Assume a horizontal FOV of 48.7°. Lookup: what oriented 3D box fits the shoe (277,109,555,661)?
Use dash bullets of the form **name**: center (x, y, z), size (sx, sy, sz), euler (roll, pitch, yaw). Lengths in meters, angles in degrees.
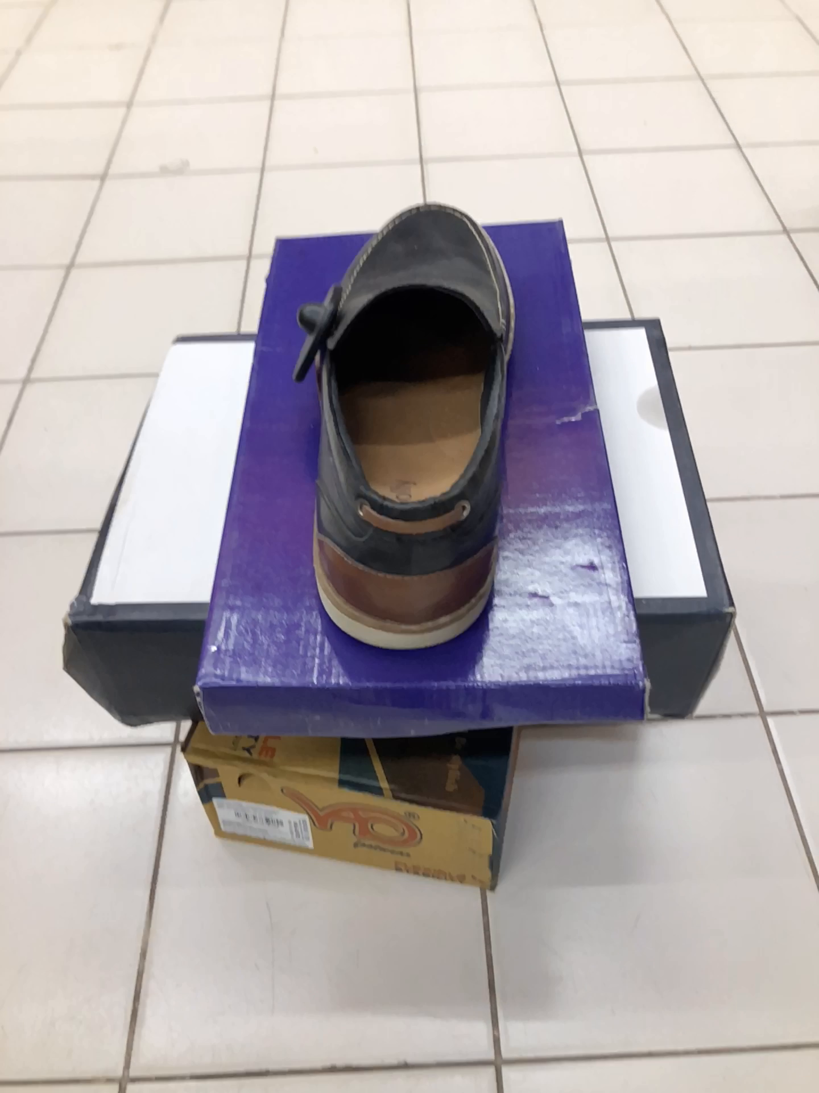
- **shoe**: center (0.003, -0.100, 0.465), size (0.100, 0.109, 0.302), euler (-1, 50, 1)
